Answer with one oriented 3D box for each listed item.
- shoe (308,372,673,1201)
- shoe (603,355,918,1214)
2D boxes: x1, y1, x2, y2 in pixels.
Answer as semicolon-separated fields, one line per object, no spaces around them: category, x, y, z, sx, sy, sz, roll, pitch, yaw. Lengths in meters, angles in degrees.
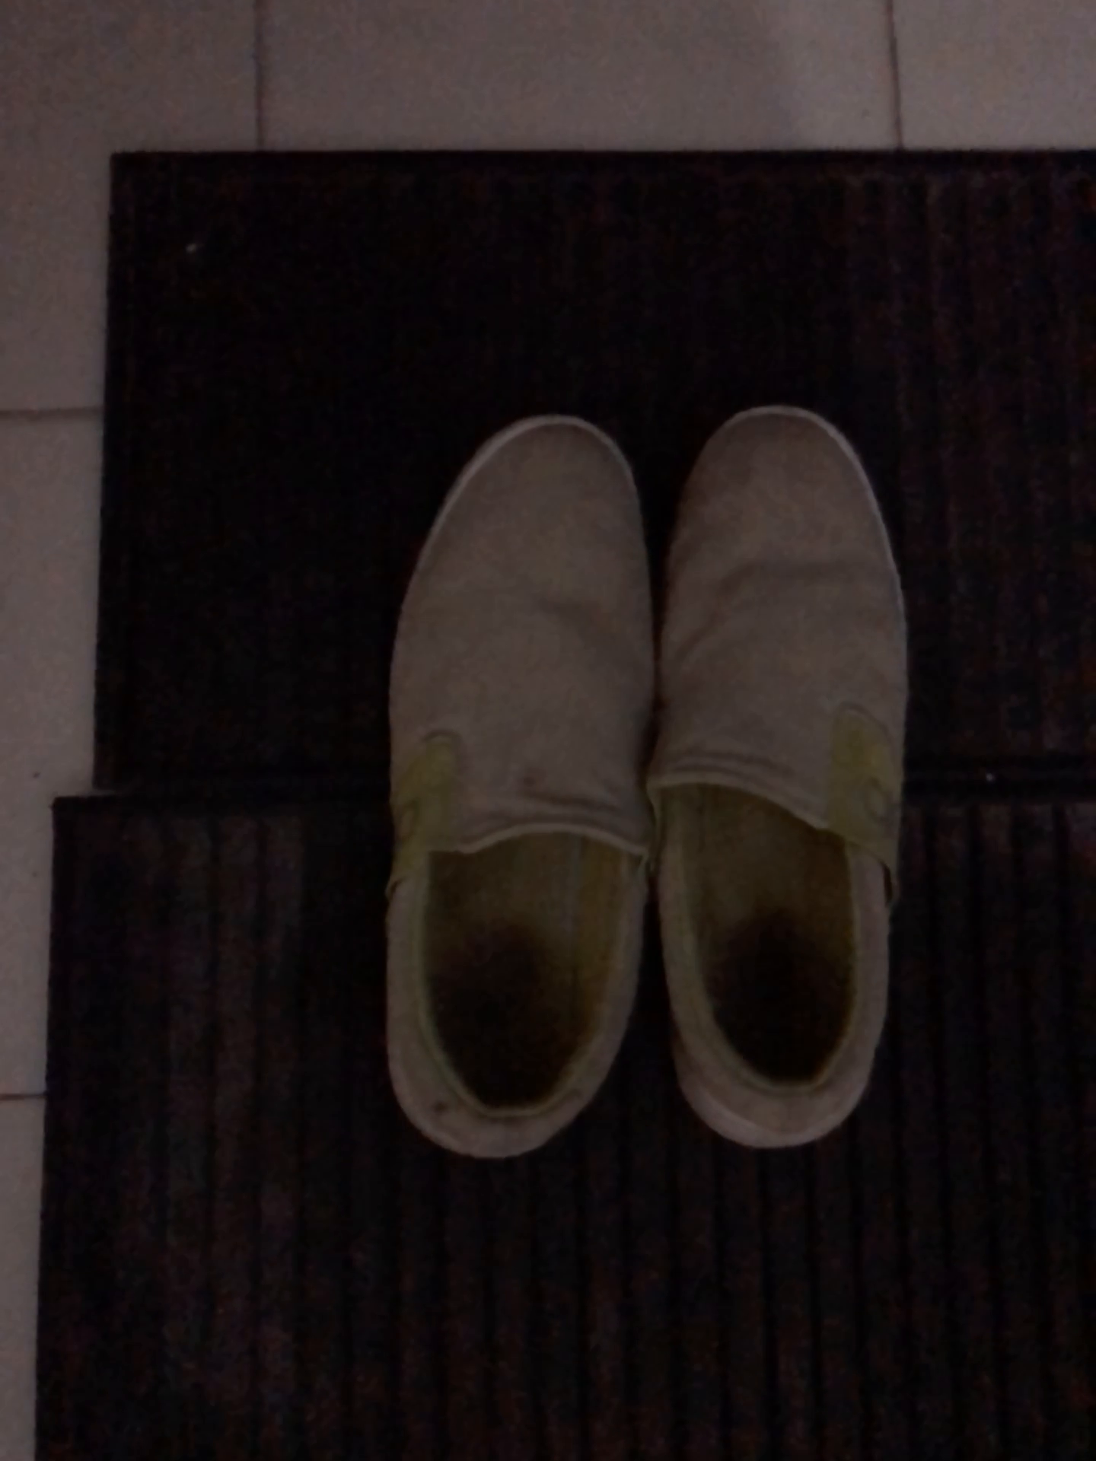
shoe;-0.018;0.020;0.488;0.120;0.090;0.300;2;81;-1
shoe;0.086;0.019;0.514;0.110;0.090;0.330;2;81;0
